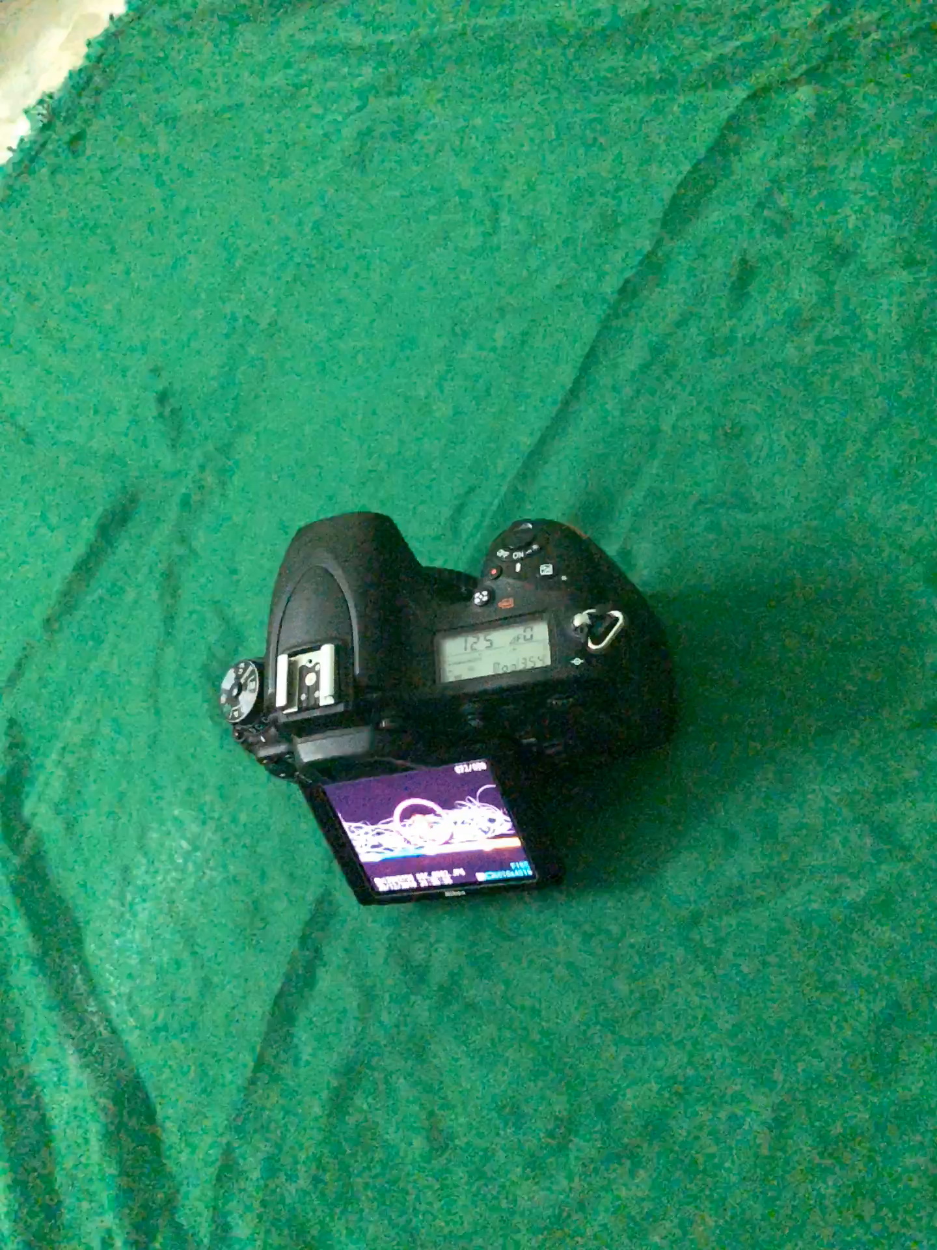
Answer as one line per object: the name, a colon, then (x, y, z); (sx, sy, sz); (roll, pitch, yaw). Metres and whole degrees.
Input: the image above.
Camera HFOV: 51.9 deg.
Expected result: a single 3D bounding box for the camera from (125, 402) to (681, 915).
camera: (-0.017, 0.024, 0.324); (0.142, 0.100, 0.128); (-11, 66, 26)
